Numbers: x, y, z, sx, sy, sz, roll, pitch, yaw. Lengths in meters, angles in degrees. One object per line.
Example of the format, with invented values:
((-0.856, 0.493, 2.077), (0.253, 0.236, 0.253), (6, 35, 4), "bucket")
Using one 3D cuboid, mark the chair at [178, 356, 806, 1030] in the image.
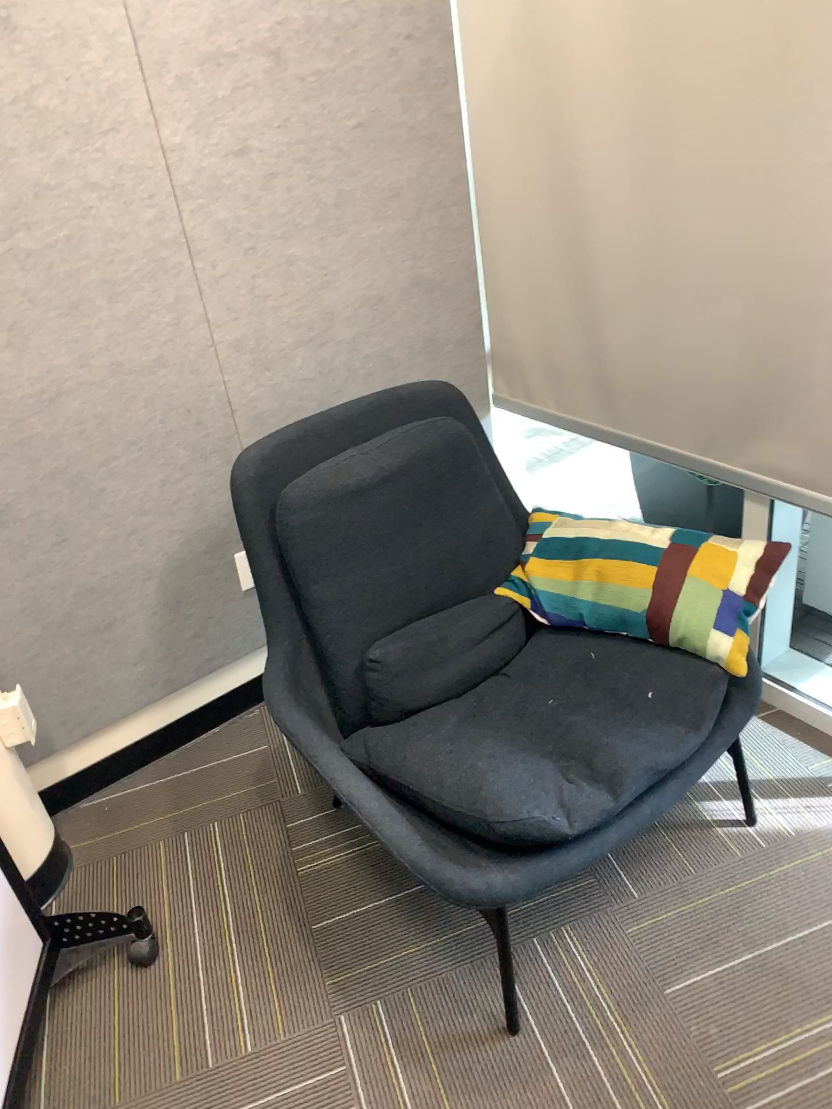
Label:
((0.113, 0.168, 1.847), (0.790, 0.815, 1.005), (-23, 33, -22), "chair")
